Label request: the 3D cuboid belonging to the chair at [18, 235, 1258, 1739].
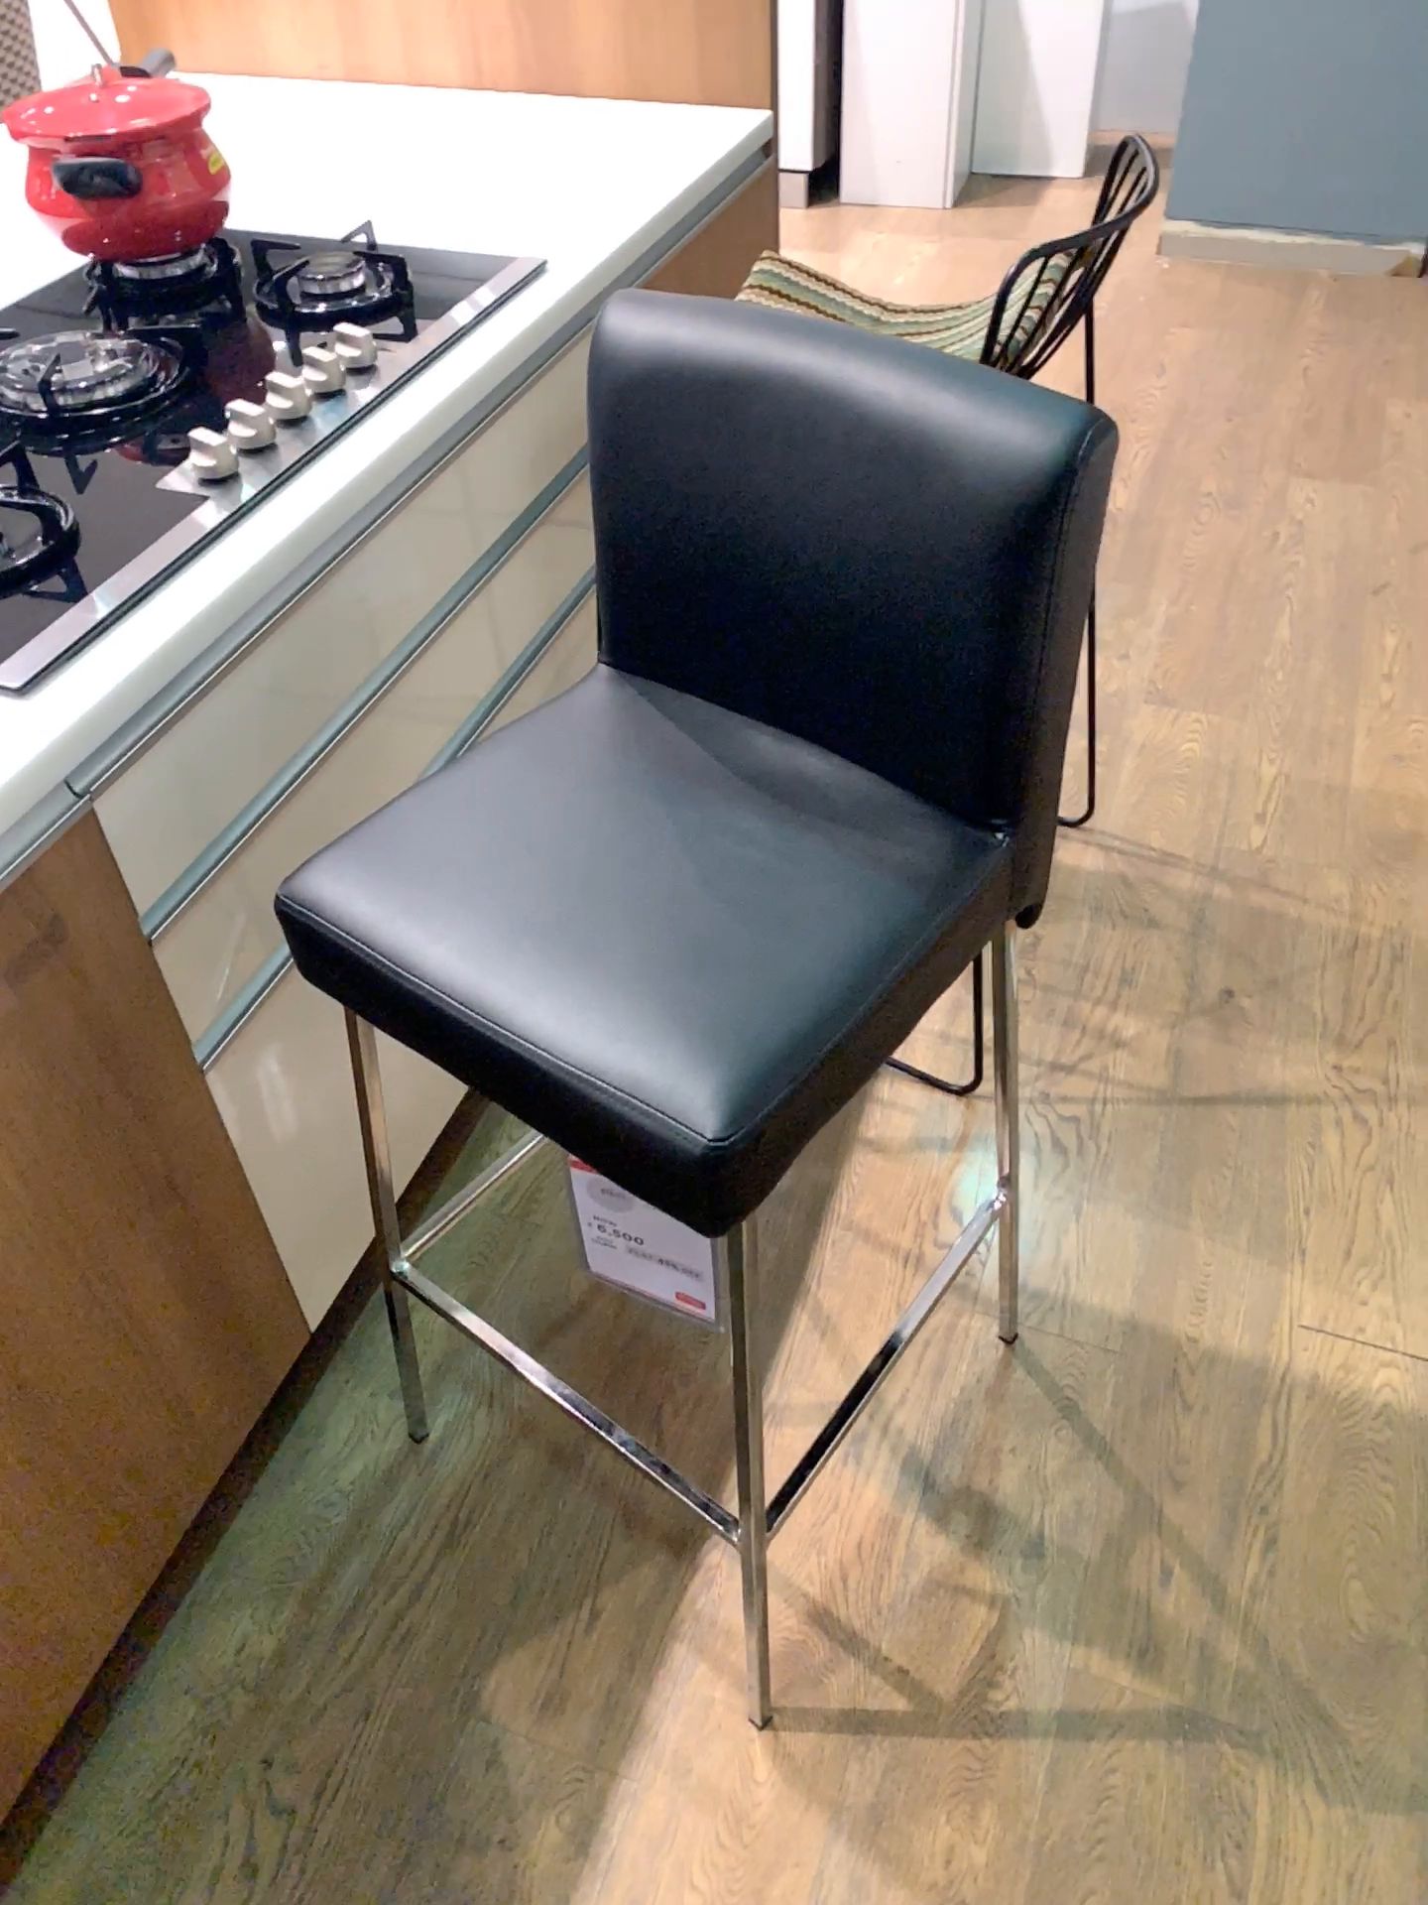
[{"bbox_3d":[-0.011,0.075,1.190,0.501,1.026,0.521,26,51,27],"label":"chair"}]
